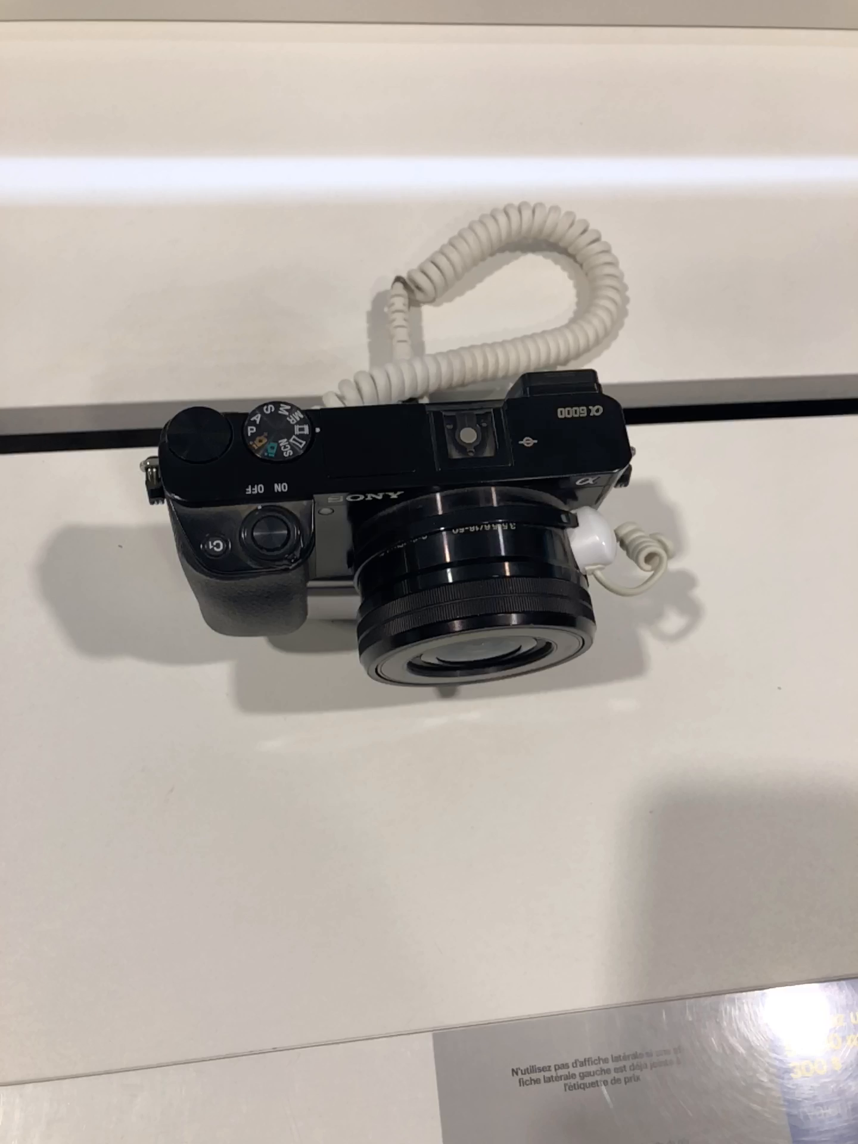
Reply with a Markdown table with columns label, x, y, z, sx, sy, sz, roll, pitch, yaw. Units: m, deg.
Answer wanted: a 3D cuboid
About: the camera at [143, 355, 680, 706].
| label | x | y | z | sx | sy | sz | roll | pitch | yaw |
| --- | --- | --- | --- | --- | --- | --- | --- | --- | --- |
| camera | -0.009 | -0.009 | 0.279 | 0.130 | 0.078 | 0.065 | -6 | 68 | -7 |
